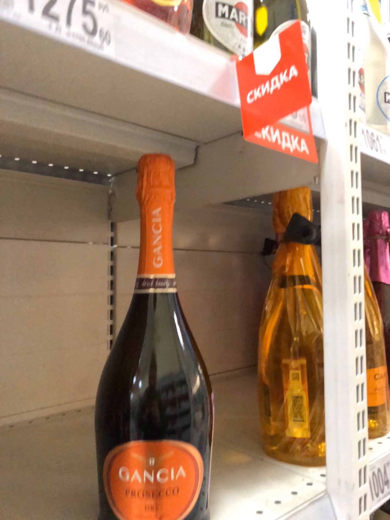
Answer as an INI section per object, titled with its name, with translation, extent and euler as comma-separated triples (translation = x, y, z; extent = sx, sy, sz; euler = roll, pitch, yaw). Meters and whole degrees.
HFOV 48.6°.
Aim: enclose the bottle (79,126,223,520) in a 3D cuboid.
[bottle]
translation = -0.035, 0.059, 0.362
extent = 0.100, 0.310, 0.100
euler = 0, -4, 0
